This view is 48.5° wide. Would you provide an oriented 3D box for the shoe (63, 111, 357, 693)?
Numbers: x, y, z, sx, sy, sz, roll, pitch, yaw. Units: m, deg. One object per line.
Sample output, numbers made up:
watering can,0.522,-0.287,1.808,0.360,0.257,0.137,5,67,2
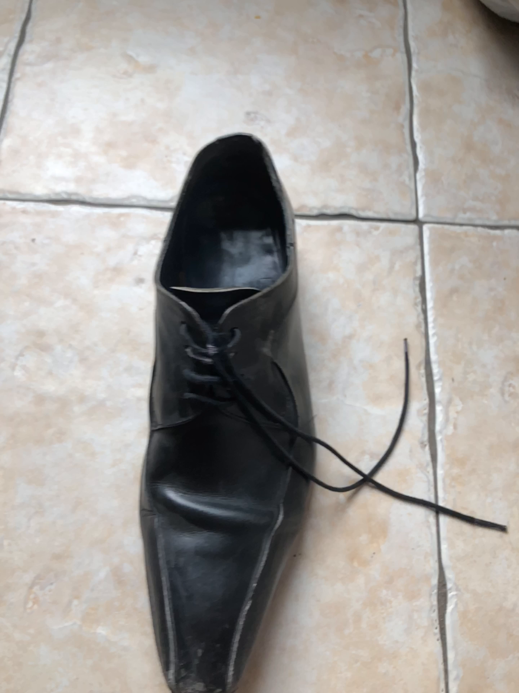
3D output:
shoe,-0.011,0.026,0.308,0.100,0.090,0.291,5,70,2
